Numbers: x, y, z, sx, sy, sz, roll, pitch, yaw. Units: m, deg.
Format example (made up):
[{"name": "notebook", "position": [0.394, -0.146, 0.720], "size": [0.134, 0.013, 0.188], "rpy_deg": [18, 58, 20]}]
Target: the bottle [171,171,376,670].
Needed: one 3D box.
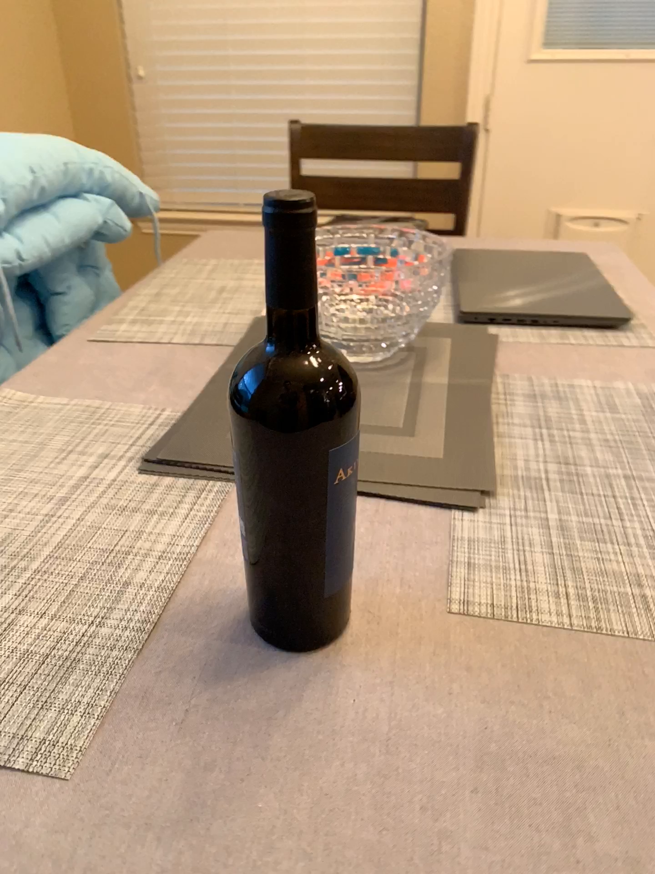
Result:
[{"name": "bottle", "position": [-0.023, 0.000, 0.421], "size": [0.090, 0.298, 0.090], "rpy_deg": [0, 29, 0]}]
